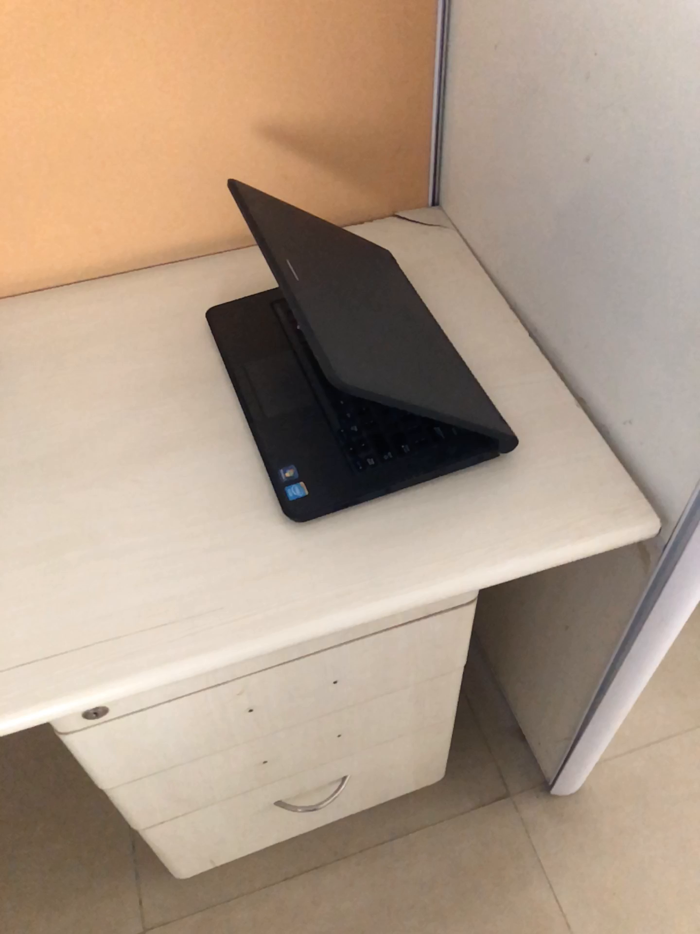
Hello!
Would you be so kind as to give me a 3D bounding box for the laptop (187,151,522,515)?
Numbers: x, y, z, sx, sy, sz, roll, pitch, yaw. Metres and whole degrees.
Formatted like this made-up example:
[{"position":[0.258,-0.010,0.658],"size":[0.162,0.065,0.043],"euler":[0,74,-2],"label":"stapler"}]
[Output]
[{"position":[-0.010,-0.150,0.774],"size":[0.216,0.154,0.319],"euler":[-17,51,-12],"label":"laptop"}]
